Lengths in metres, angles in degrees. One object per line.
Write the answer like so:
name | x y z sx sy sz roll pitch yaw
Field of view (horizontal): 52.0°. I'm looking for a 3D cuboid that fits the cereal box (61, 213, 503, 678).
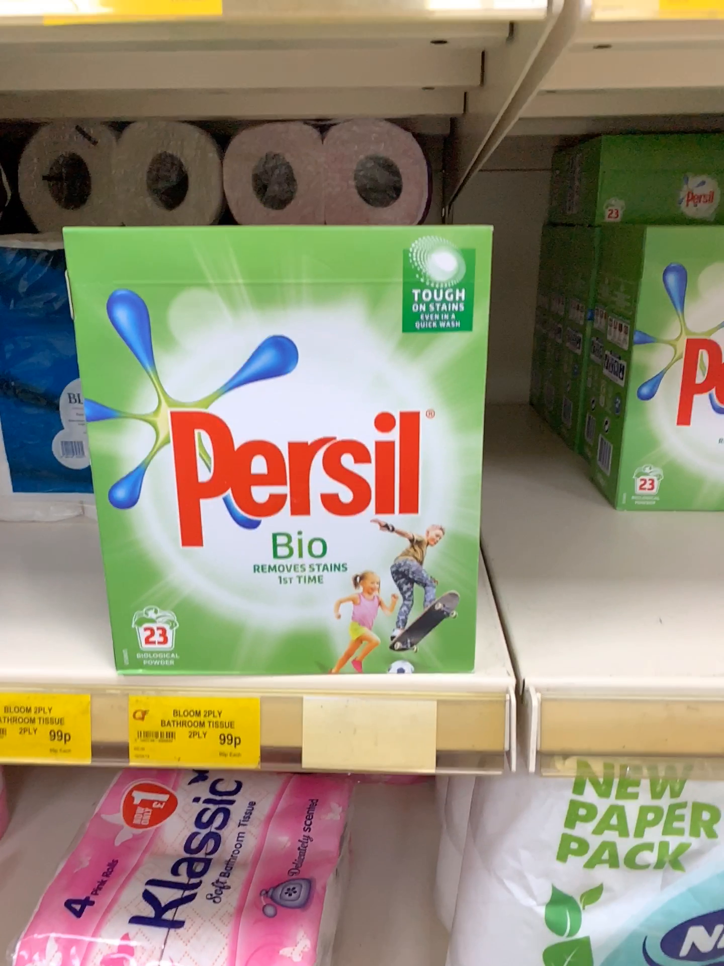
cereal box | -0.035 -0.022 0.415 0.200 0.238 0.091 0 18 1
